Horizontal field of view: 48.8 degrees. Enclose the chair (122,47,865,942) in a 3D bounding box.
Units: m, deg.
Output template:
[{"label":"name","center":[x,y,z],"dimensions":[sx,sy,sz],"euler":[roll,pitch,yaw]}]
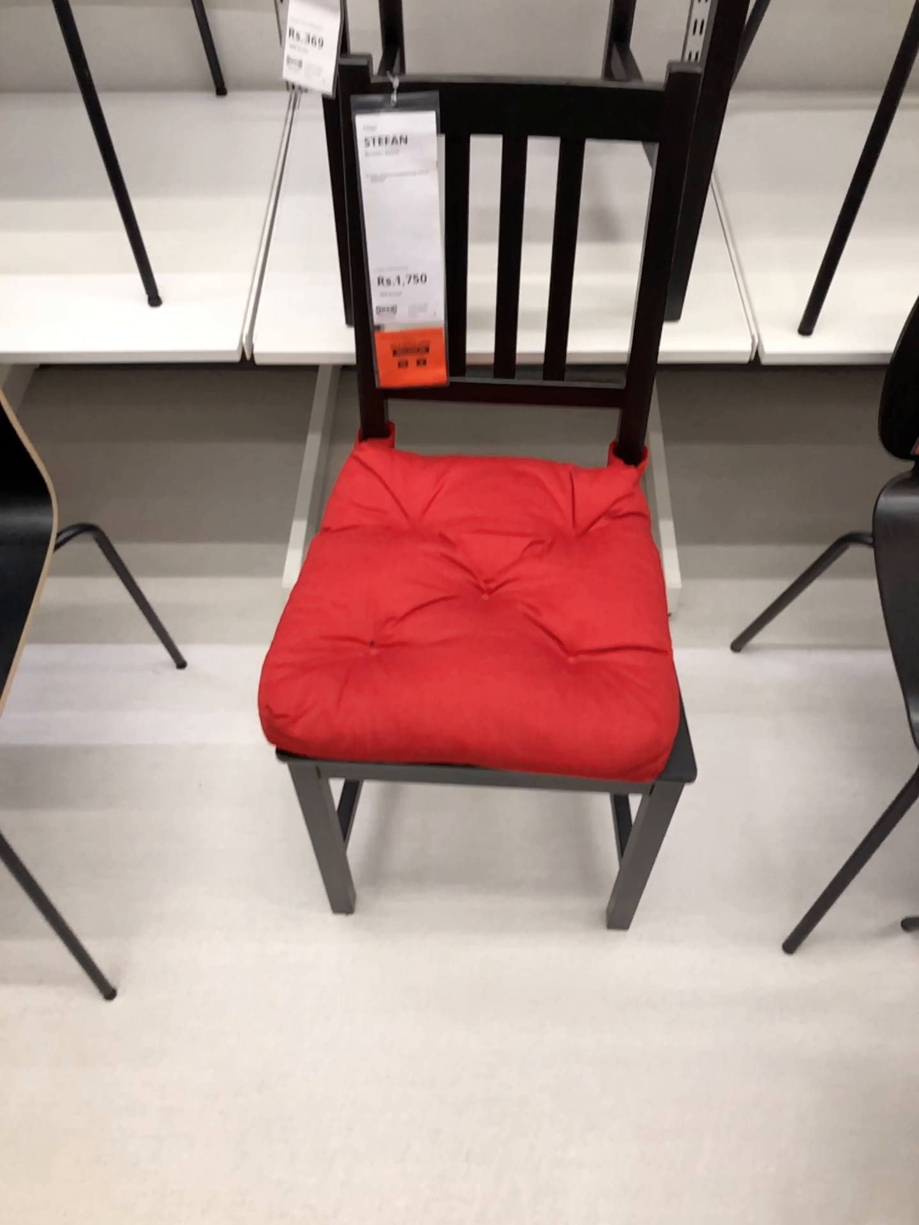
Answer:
[{"label":"chair","center":[0.032,-0.042,1.065],"dimensions":[0.430,0.835,0.483],"euler":[2,54,2]}]
